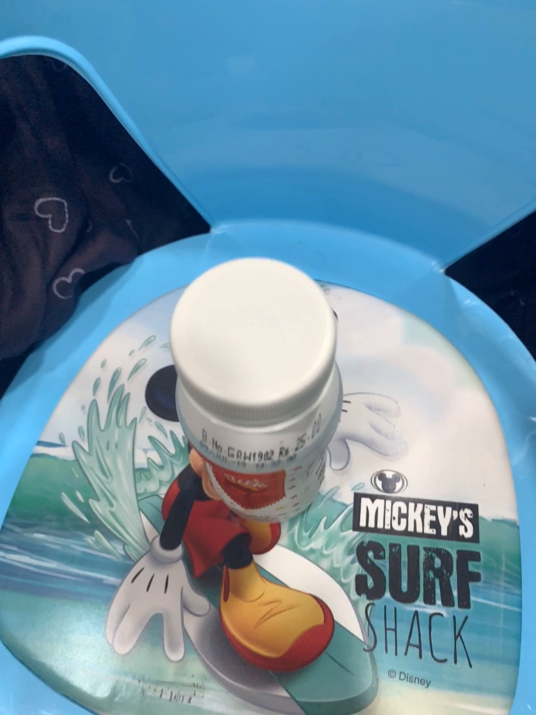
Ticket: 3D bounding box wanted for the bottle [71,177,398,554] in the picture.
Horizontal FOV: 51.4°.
[{"bbox_3d":[-0.004,0.016,0.190,0.060,0.130,0.060,-1,61,1],"label":"bottle"}]
